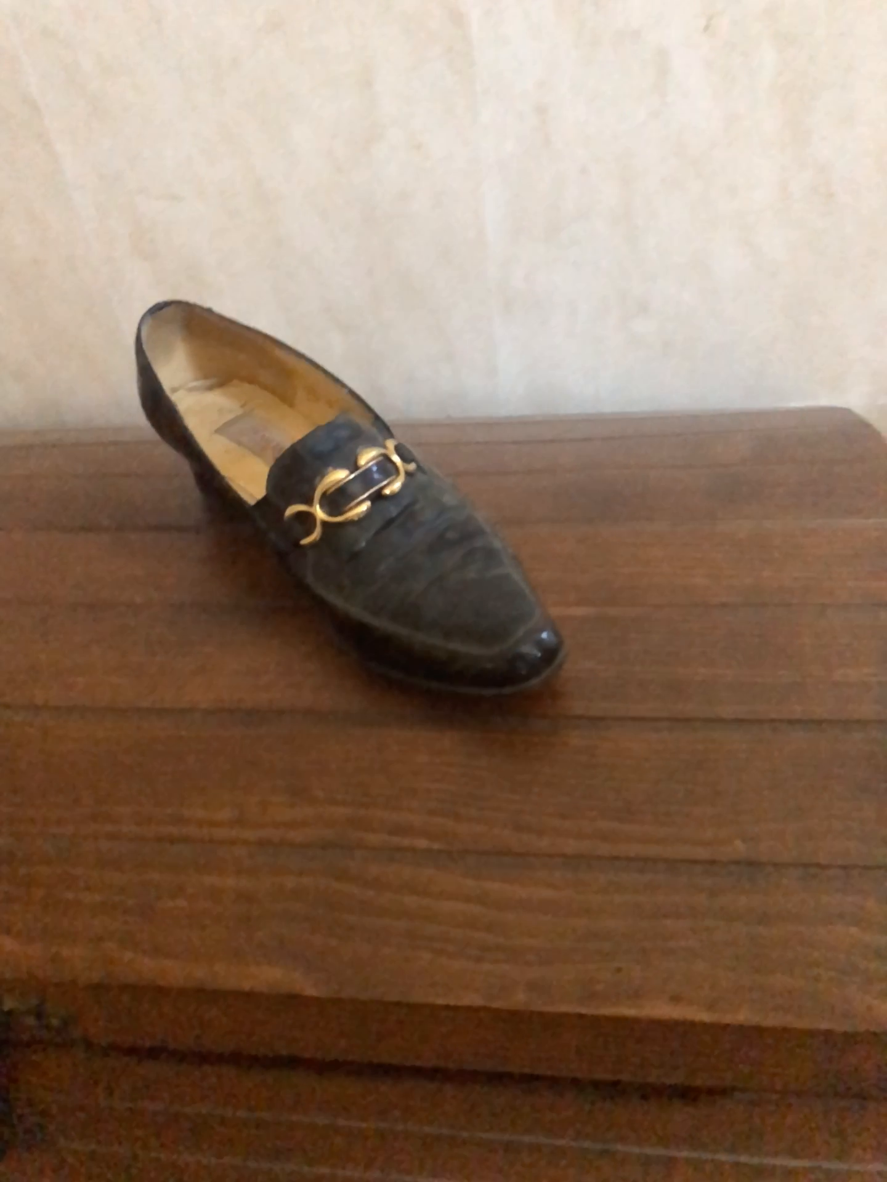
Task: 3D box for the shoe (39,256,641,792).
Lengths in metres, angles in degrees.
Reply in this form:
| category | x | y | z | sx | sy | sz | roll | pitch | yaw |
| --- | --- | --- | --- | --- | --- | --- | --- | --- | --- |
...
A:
| category | x | y | z | sx | sy | sz | roll | pitch | yaw |
| --- | --- | --- | --- | --- | --- | --- | --- | --- | --- |
| shoe | -0.047 | -0.042 | 0.398 | 0.240 | 0.099 | 0.090 | 32 | 57 | 33 |
